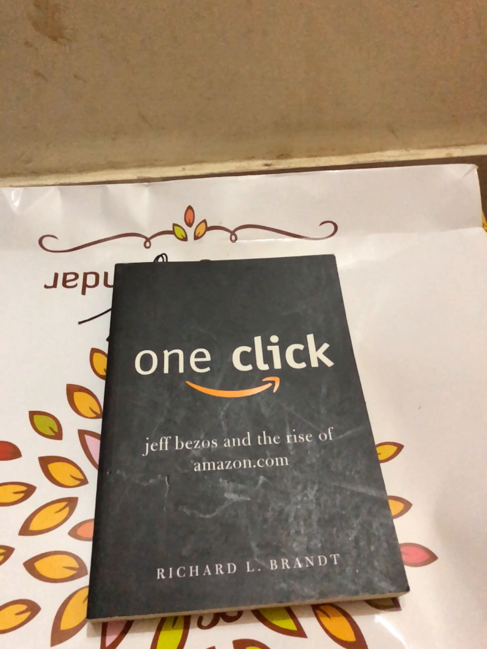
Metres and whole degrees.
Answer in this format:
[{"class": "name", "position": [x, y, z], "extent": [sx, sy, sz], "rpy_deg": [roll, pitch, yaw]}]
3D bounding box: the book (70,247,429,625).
[{"class": "book", "position": [-0.002, 0.044, 0.316], "extent": [0.160, 0.020, 0.221], "rpy_deg": [-3, 53, 0]}]
